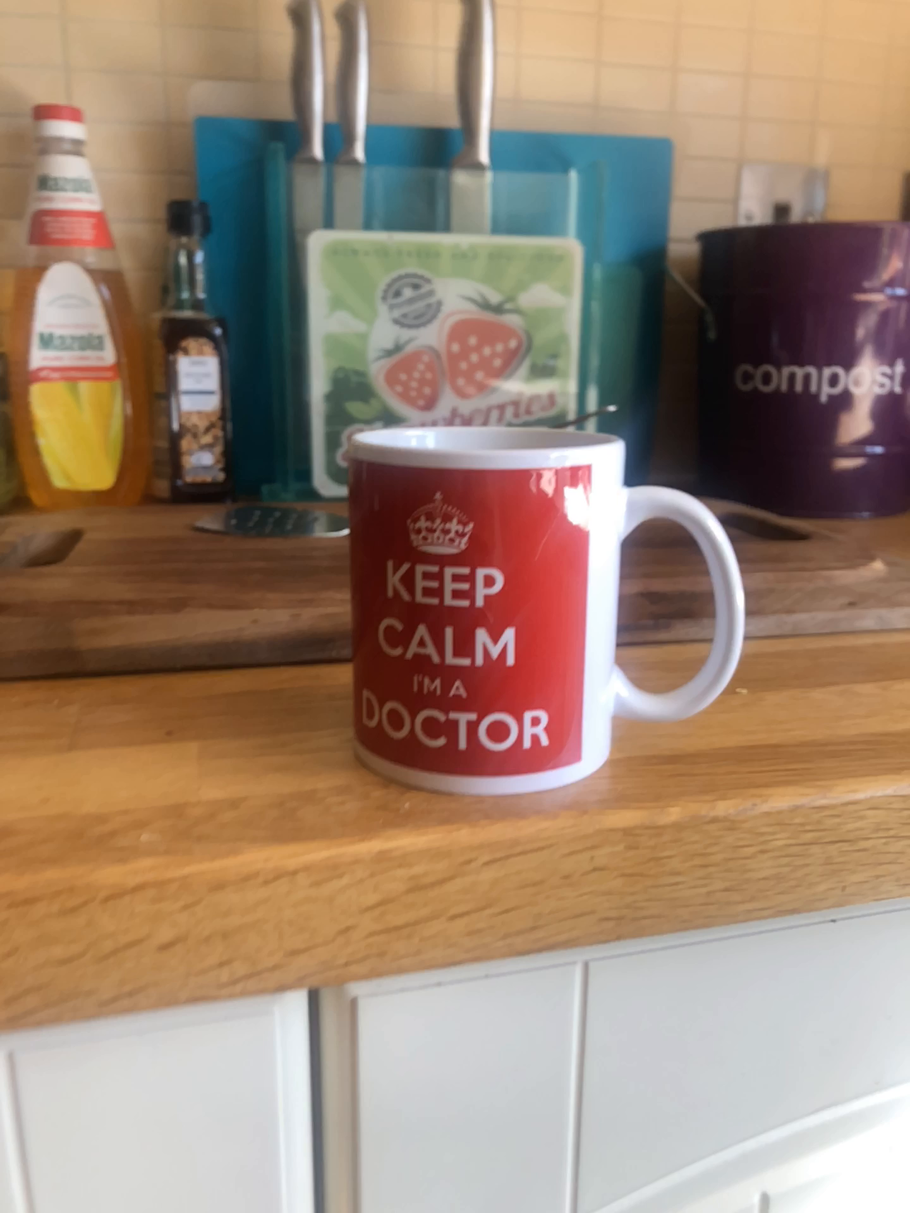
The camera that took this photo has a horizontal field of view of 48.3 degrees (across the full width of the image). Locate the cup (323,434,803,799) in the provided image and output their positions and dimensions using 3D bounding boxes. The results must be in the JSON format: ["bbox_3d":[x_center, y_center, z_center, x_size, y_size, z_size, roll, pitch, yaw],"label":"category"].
[{"bbox_3d":[0.026,-0.004,0.311,0.123,0.094,0.089,0,11,-3],"label":"cup"}]
